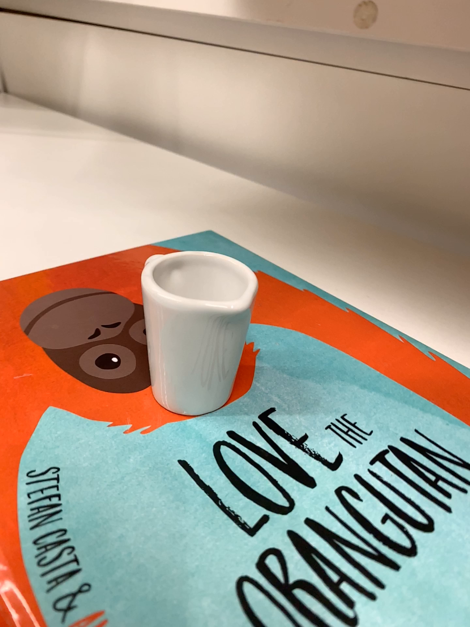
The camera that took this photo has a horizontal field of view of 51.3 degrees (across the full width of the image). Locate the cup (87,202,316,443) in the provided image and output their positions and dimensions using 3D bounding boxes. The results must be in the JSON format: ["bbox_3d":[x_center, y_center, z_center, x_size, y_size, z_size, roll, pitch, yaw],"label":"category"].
[{"bbox_3d":[-0.017,-0.003,0.179,0.050,0.050,0.070,-14,37,-30],"label":"cup"}]
